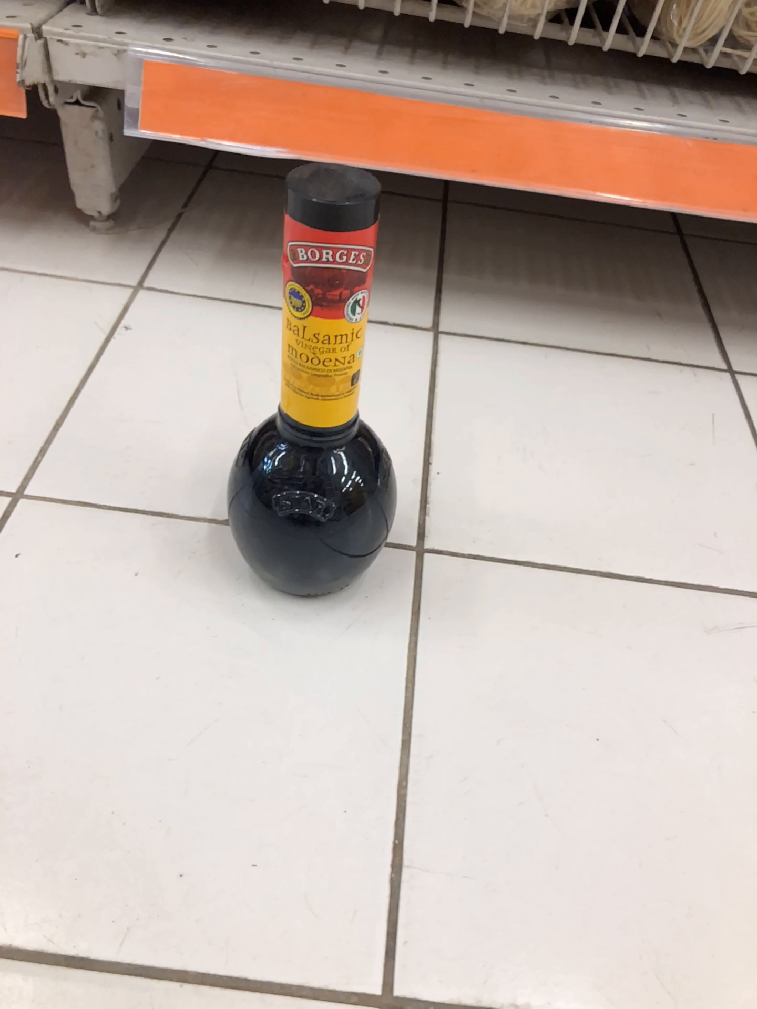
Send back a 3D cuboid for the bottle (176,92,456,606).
[{"bbox_3d":[-0.025,-0.052,0.336,0.080,0.179,0.081,4,44,-4],"label":"bottle"}]
